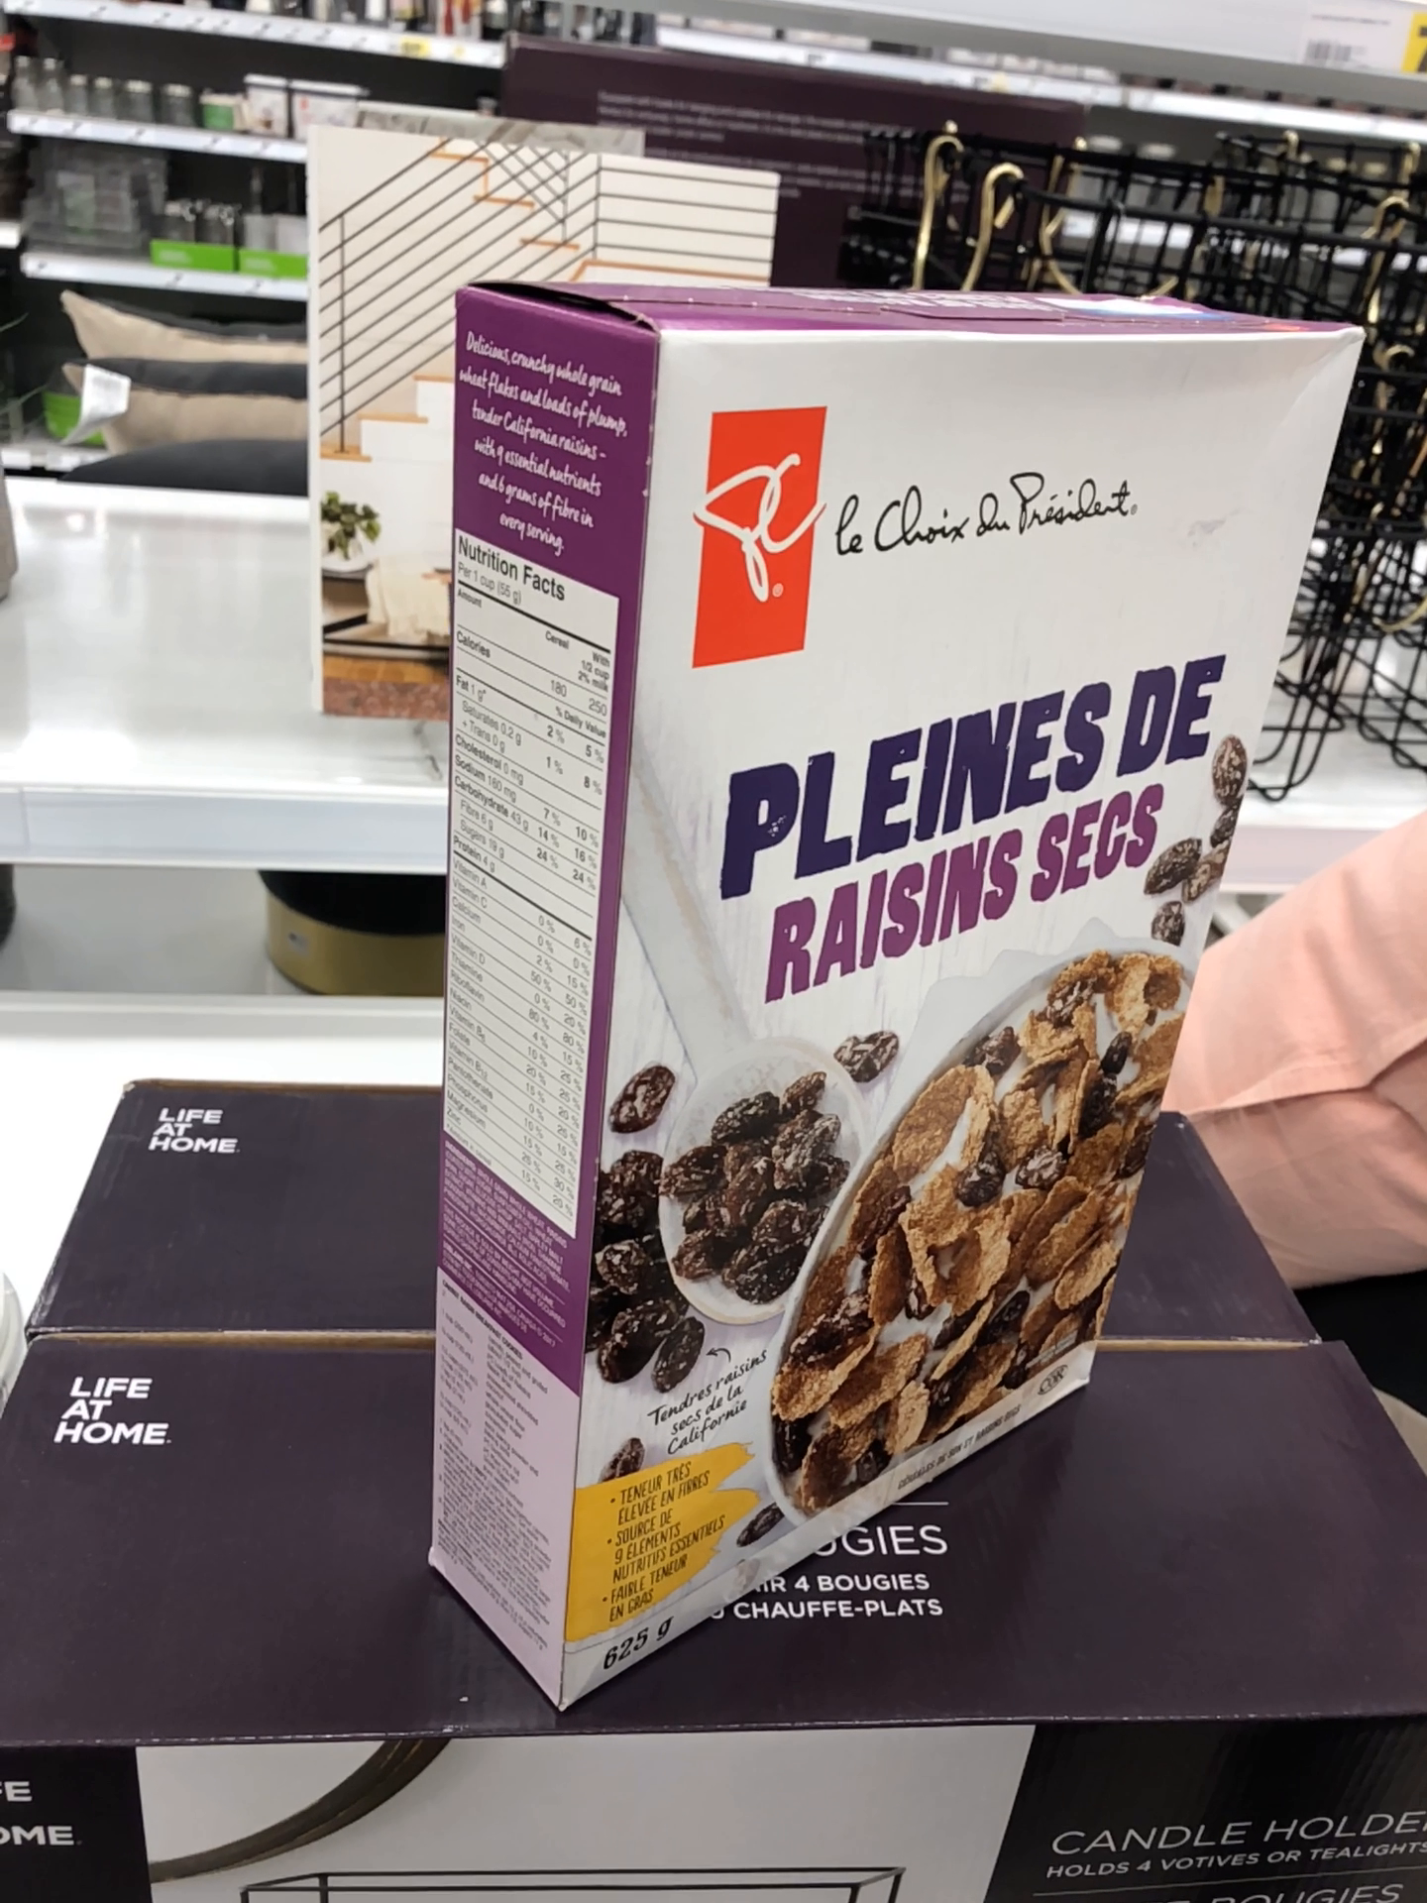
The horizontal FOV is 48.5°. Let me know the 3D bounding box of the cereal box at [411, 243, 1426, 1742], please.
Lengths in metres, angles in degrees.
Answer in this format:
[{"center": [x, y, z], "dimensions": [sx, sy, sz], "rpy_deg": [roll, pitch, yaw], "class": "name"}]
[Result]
[{"center": [0.037, 0.009, 0.360], "dimensions": [0.200, 0.299, 0.060], "rpy_deg": [-17, 37, -36], "class": "cereal box"}]
